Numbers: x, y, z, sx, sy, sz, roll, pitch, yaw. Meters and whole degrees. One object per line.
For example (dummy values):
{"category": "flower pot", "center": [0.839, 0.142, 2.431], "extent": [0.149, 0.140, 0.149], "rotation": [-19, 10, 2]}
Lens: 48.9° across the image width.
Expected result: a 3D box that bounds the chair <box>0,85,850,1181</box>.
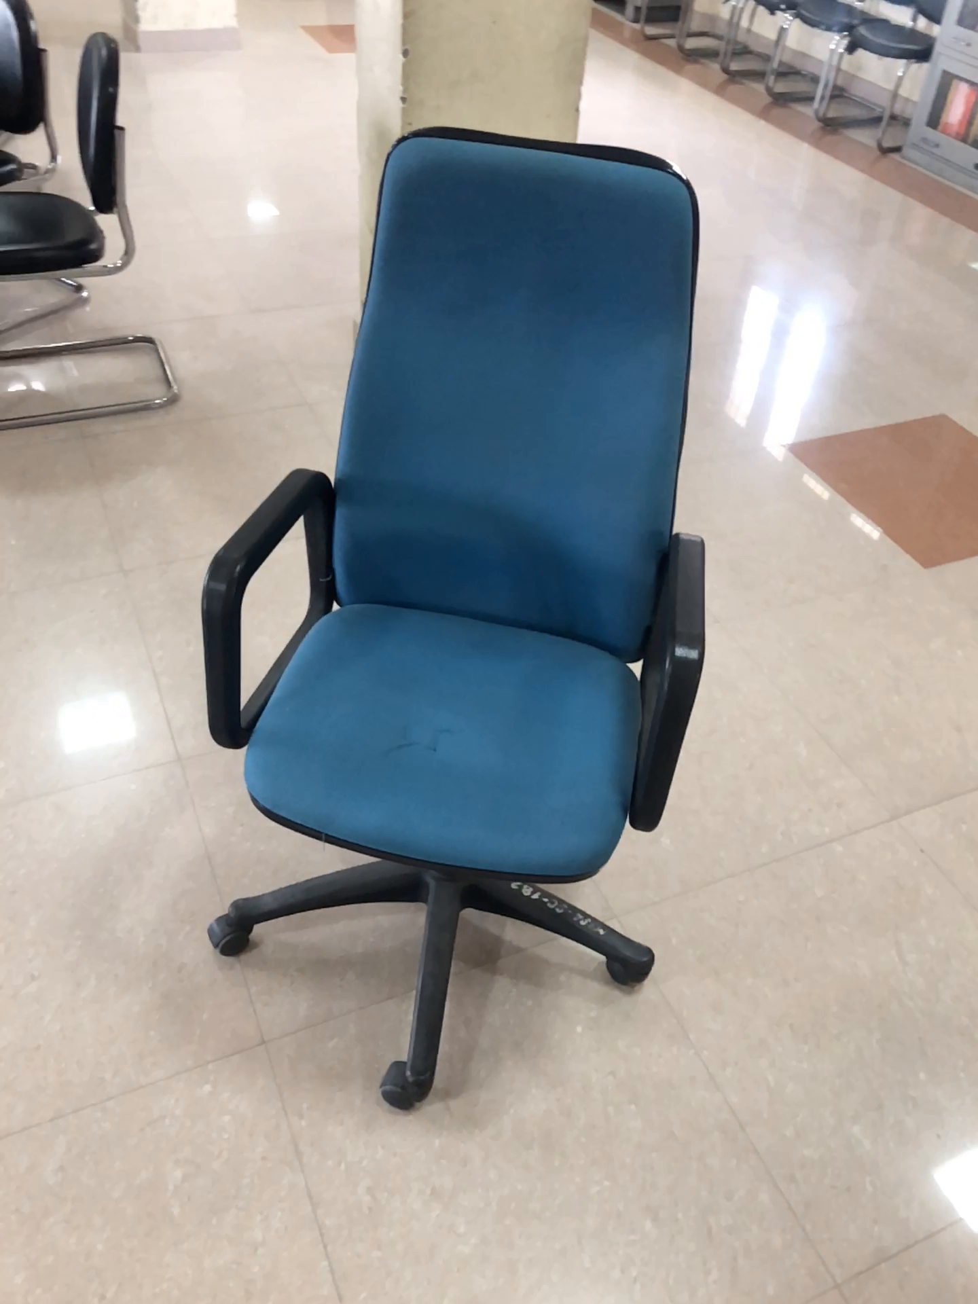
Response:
{"category": "chair", "center": [-0.070, -0.011, 1.408], "extent": [0.740, 1.076, 0.763], "rotation": [11, 42, 7]}
